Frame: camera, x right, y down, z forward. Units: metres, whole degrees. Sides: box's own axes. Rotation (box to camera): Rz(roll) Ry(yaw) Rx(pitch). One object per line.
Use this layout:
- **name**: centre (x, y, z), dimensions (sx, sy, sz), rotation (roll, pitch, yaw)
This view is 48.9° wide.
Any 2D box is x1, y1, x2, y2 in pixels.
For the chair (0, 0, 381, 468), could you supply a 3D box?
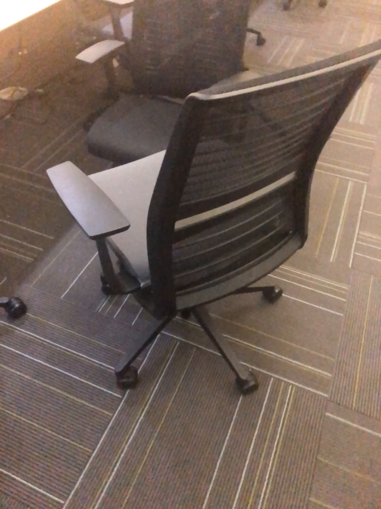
- **chair**: centre (0.017, -0.125, 1.128), dimensions (0.724, 0.962, 0.713), rotation (-26, 52, -25)

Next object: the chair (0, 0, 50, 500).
- **chair**: centre (-0.978, -0.097, 1.056), dimensions (0.721, 0.962, 0.735), rotation (34, 53, 27)
